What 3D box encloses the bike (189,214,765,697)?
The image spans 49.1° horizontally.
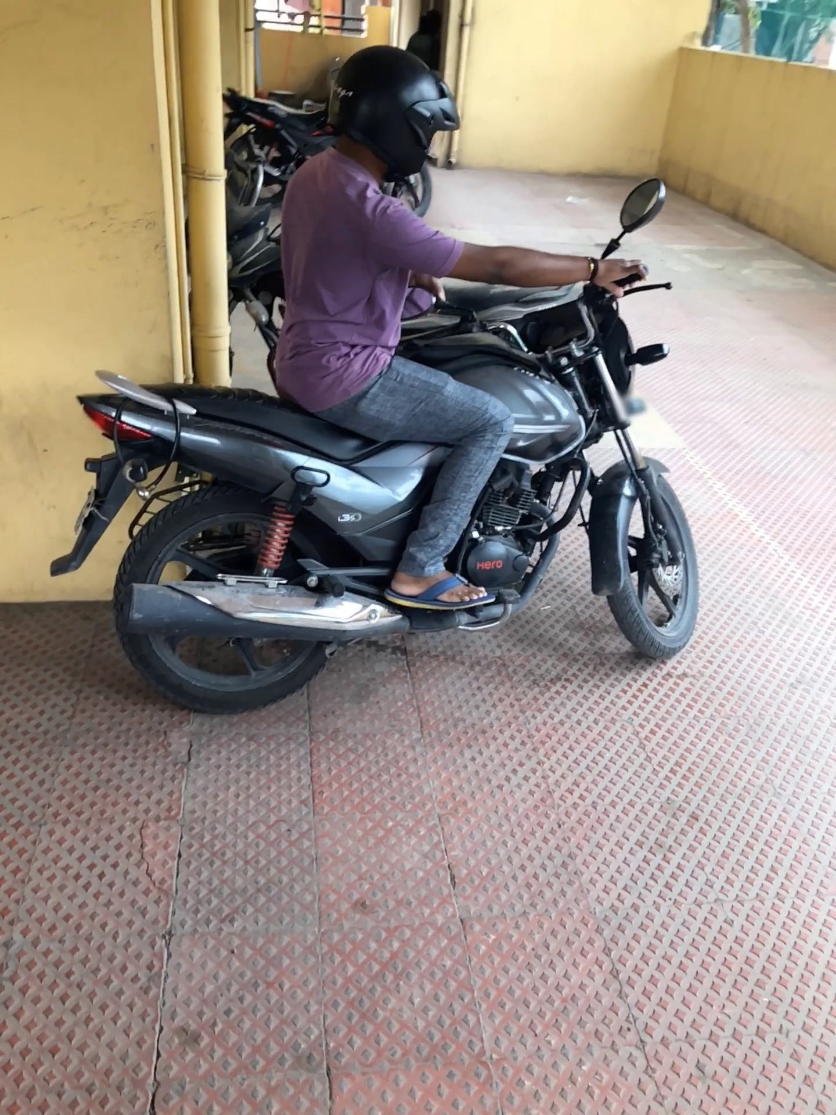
[{"bbox_3d":[0.086,-0.300,2.503,1.238,0.999,0.703,-5,32,-20],"label":"bike"}]
